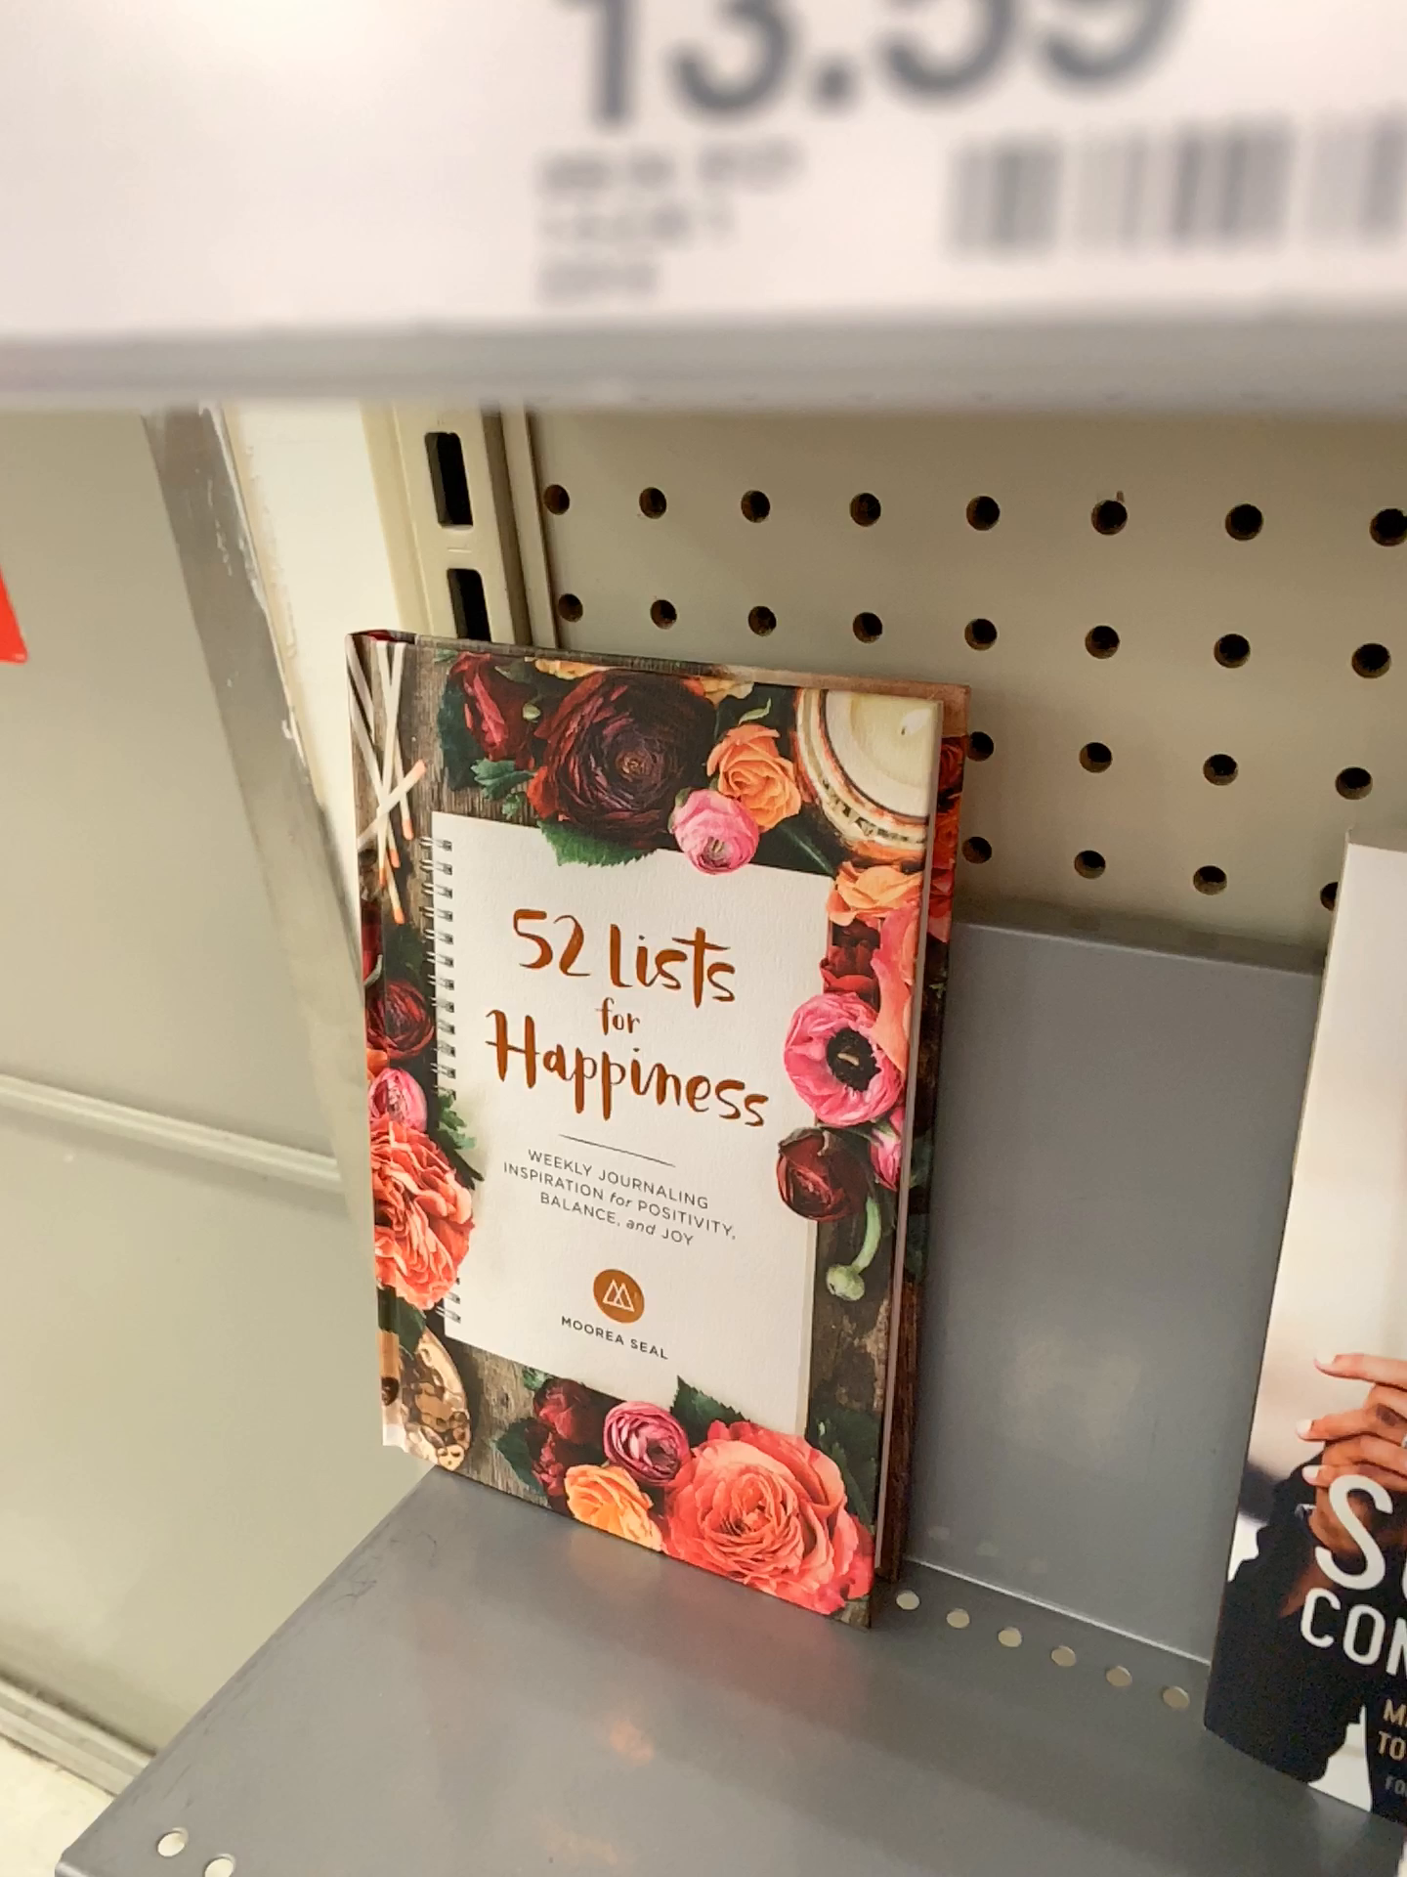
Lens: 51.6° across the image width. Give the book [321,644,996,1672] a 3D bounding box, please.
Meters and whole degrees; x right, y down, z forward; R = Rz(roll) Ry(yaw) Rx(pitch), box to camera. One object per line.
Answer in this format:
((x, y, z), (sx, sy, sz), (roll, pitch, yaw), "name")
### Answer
((-0.017, 0.047, 0.336), (0.150, 0.216, 0.020), (10, 20, 26), "book")
